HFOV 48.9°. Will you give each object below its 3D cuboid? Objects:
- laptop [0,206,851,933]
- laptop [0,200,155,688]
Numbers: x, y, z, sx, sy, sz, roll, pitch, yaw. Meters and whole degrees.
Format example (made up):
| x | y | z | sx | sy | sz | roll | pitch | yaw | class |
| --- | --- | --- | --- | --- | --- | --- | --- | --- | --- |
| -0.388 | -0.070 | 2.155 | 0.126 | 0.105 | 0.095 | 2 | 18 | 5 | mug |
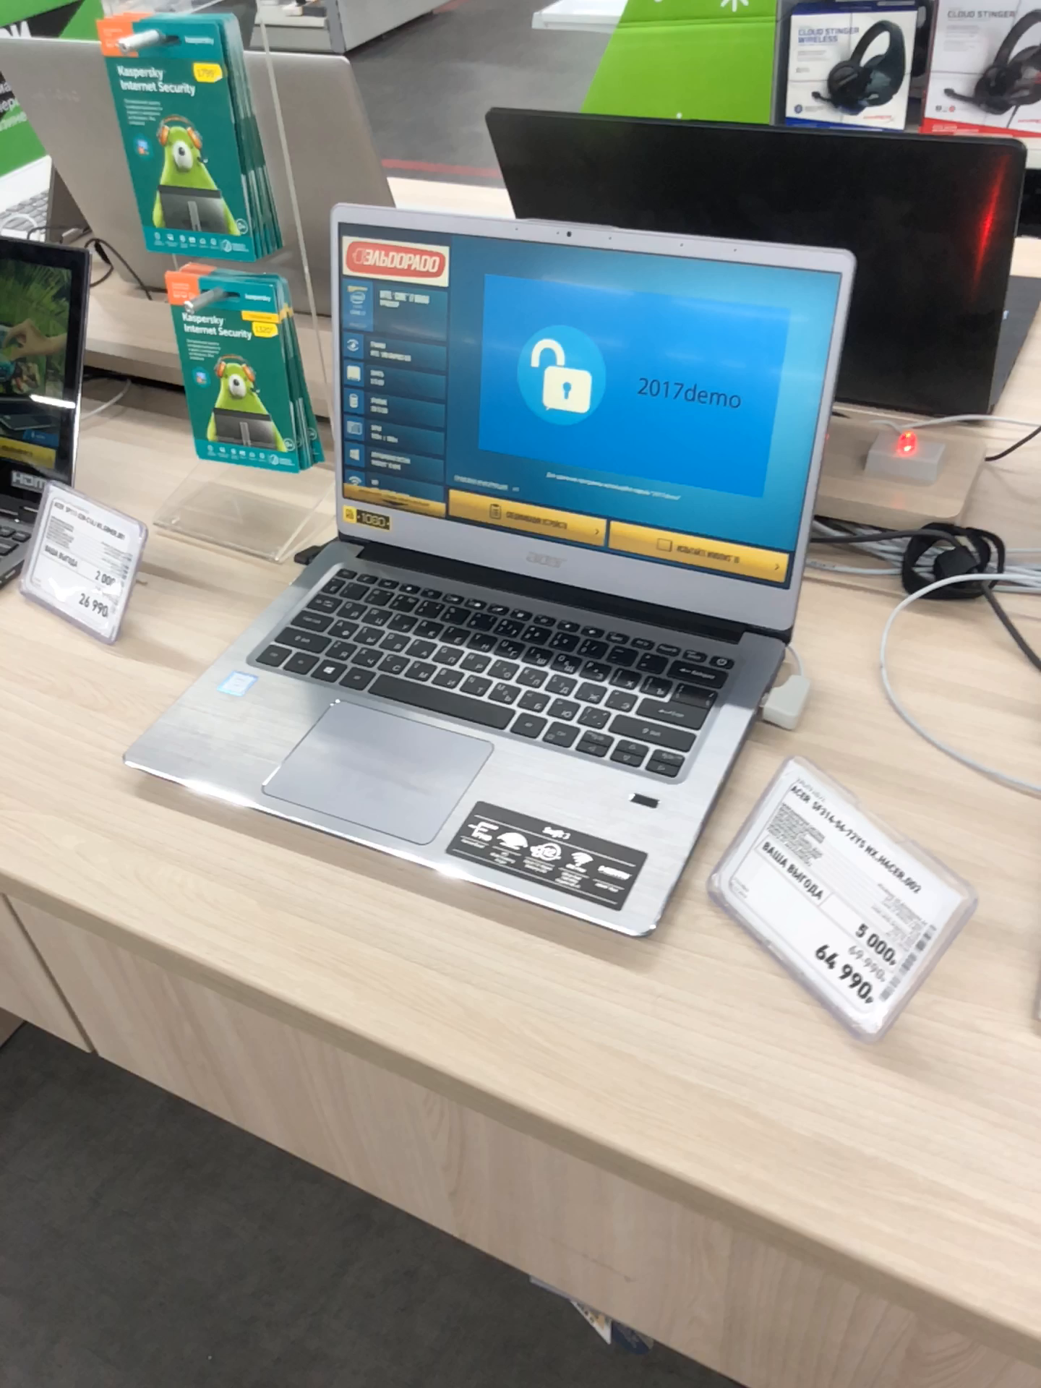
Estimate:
| x | y | z | sx | sy | sz | roll | pitch | yaw | class |
| --- | --- | --- | --- | --- | --- | --- | --- | --- | --- |
| -0.027 | -0.096 | 0.629 | 0.315 | 0.197 | 0.303 | 15 | 47 | 22 | laptop |
| -0.499 | -0.200 | 0.827 | 0.279 | 0.159 | 0.312 | 17 | 49 | 24 | laptop |
